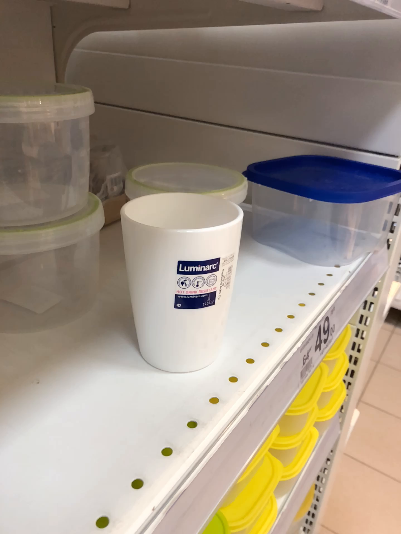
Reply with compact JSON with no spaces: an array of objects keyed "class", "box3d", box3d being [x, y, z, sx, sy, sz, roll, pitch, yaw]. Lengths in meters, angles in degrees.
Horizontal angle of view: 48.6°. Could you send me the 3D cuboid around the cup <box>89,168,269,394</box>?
[{"class":"cup","box3d":[-0.010,0.000,0.322,0.079,0.107,0.121,13,28,17]}]
